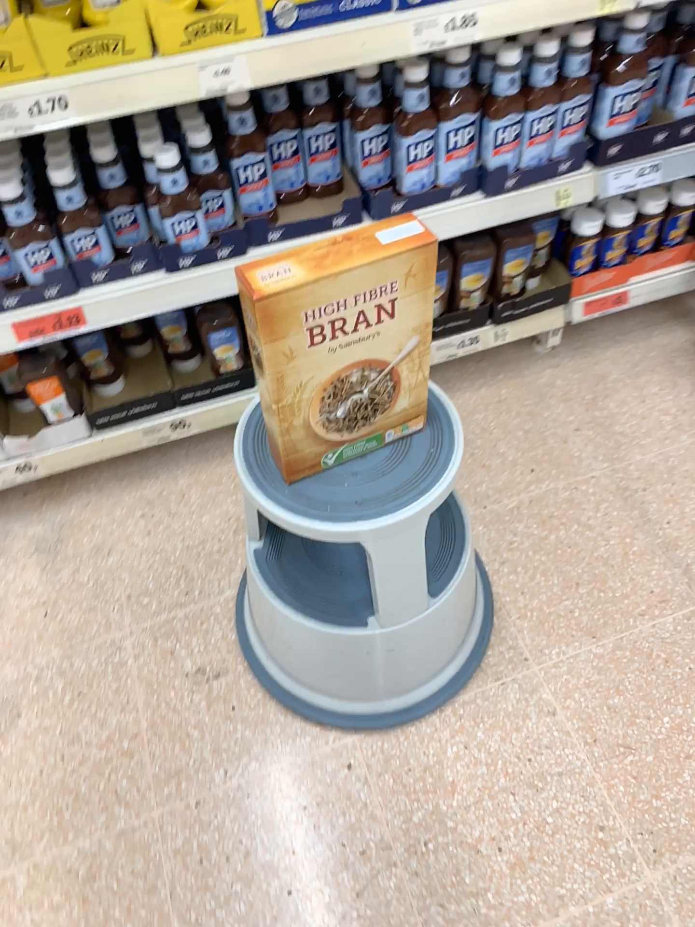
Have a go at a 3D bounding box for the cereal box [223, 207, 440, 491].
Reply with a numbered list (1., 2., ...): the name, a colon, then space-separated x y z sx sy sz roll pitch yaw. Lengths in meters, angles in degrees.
1. cereal box: -0.006 -0.113 0.779 0.200 0.277 0.060 -22 52 -14
